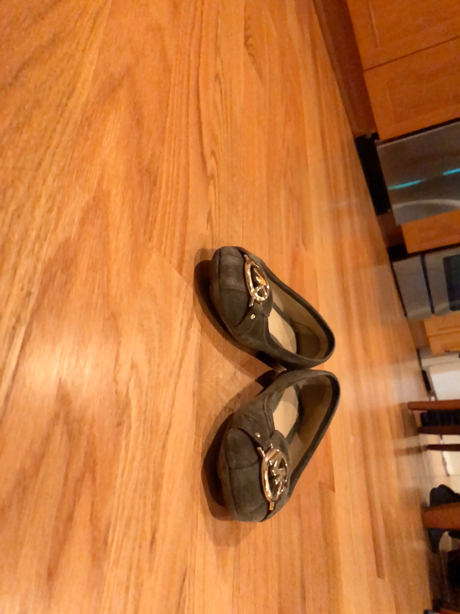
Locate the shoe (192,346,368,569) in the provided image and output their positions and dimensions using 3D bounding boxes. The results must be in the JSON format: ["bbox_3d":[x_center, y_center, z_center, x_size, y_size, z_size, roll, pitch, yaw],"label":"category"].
[{"bbox_3d":[0.062,0.111,0.448,0.243,0.079,0.091,-23,100,-68],"label":"shoe"}]

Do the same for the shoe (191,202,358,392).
[{"bbox_3d":[0.055,0.008,0.496,0.240,0.079,0.091,40,42,-58],"label":"shoe"}]
